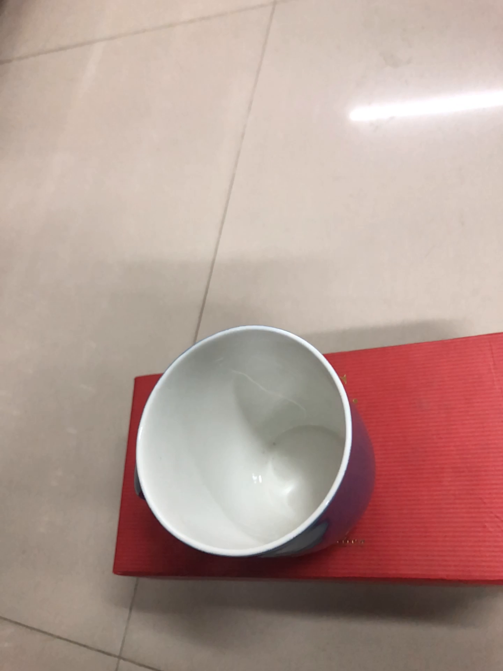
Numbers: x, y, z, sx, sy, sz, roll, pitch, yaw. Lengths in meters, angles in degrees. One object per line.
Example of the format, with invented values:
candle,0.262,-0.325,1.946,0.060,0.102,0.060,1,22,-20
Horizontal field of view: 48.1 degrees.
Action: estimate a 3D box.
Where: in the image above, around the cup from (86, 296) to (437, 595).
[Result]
cup,0.004,0.052,0.228,0.110,0.080,0.080,-17,62,16
